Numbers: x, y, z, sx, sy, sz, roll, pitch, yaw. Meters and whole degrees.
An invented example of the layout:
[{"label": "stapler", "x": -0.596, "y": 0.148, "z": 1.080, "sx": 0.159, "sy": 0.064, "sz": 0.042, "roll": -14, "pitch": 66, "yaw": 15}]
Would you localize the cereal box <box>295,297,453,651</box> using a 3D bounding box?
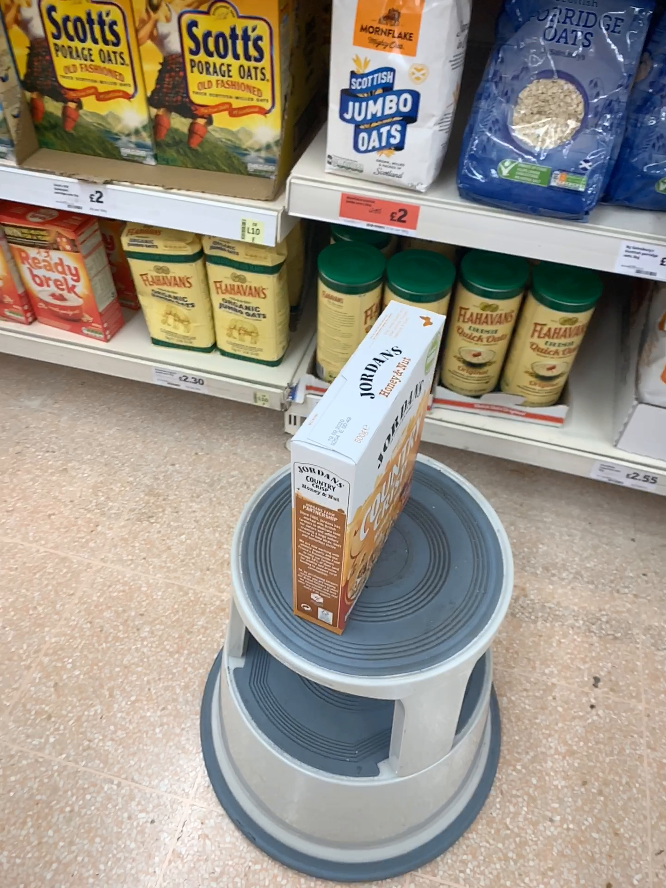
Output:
[{"label": "cereal box", "x": 0.031, "y": 0.034, "z": 0.592, "sx": 0.050, "sy": 0.258, "sz": 0.181, "roll": 20, "pitch": 49, "yaw": 15}]
